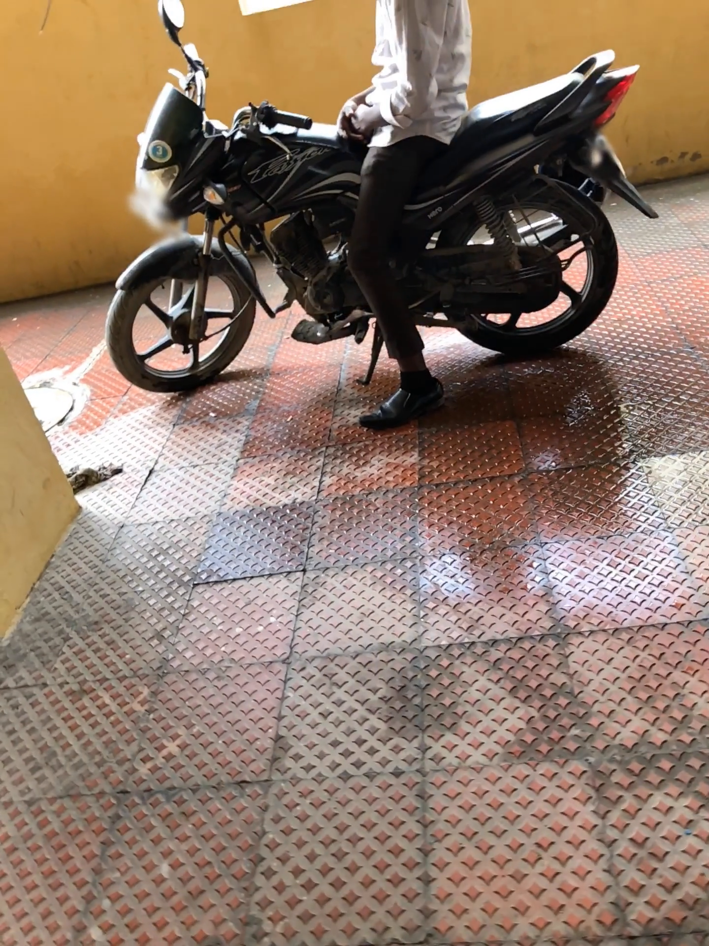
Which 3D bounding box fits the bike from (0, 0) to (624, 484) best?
[{"bbox_3d":[-0.096,-0.818,2.639,1.874,1.185,0.815,-8,34,9],"label":"bike"}]
